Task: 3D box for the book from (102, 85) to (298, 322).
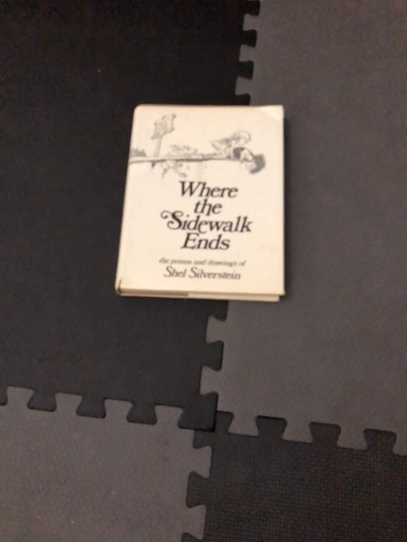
[{"bbox_3d":[0.005,-0.088,0.522,0.200,0.030,0.280,3,71,4],"label":"book"}]
